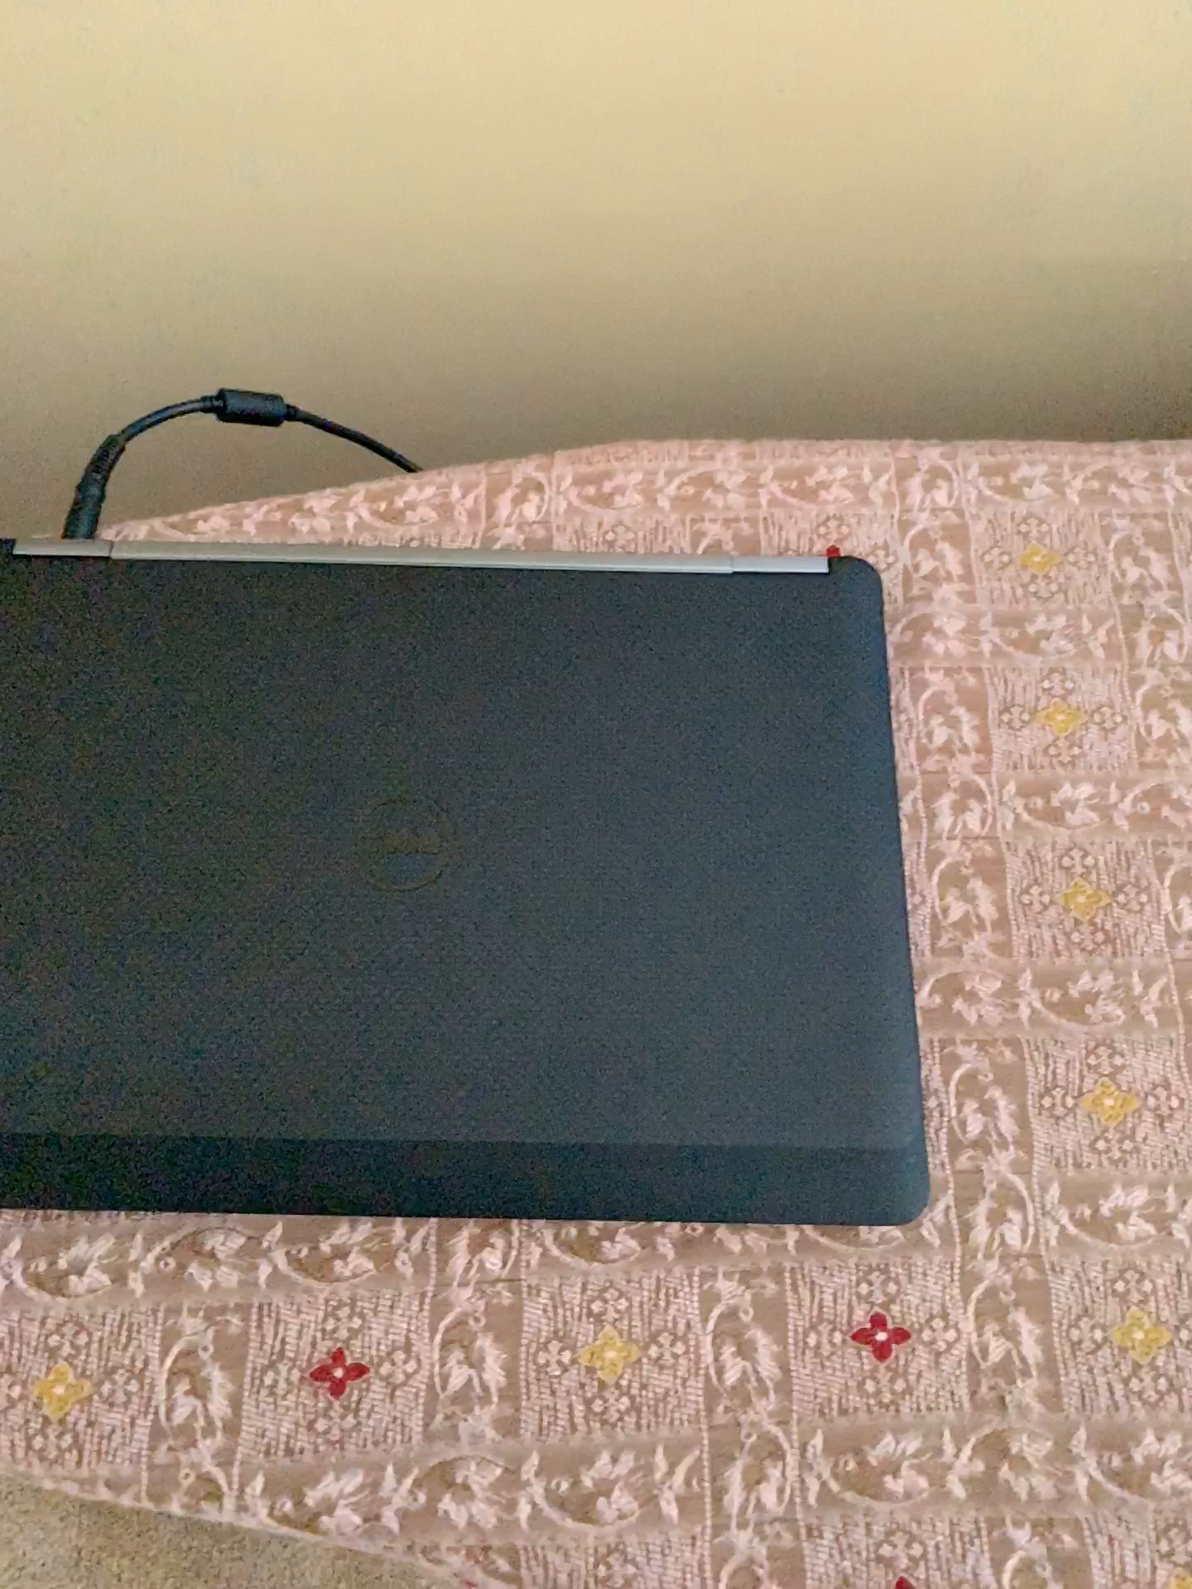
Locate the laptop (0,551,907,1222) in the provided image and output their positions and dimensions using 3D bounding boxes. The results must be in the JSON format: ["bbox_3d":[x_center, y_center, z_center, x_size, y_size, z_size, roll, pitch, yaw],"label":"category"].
[{"bbox_3d":[-0.062,0.019,0.369,0.294,0.017,0.197,1,71,4],"label":"laptop"}]
